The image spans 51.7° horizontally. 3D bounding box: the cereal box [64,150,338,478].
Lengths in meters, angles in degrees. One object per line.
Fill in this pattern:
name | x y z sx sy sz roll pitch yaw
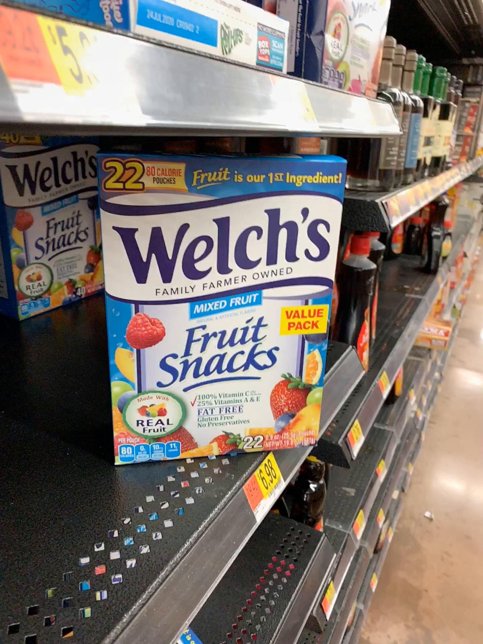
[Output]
cereal box | -0.029 -0.006 0.376 0.170 0.229 0.060 -3 21 -12
